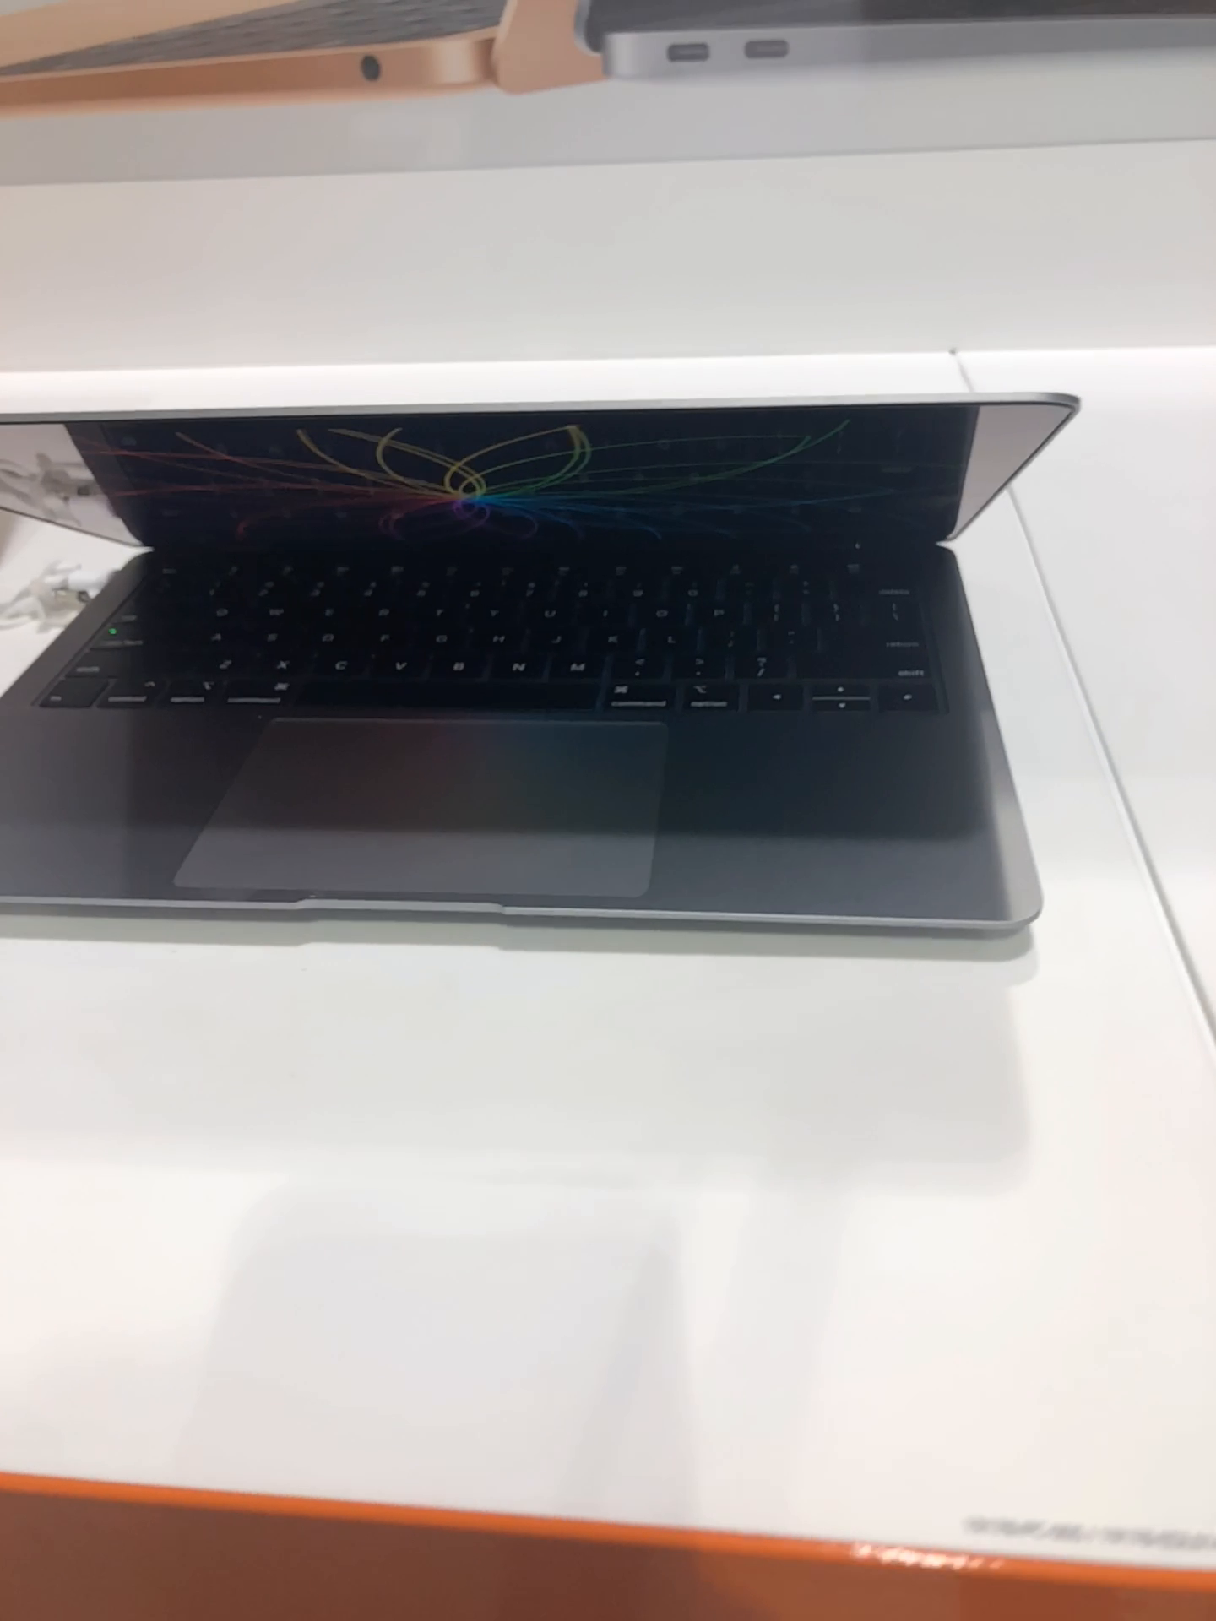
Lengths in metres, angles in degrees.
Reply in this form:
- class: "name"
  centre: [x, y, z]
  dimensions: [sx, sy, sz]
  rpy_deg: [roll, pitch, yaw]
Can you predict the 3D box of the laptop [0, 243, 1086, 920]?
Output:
- class: "laptop"
  centre: [-0.042, -0.078, 0.377]
  dimensions: [0.288, 0.102, 0.200]
  rpy_deg: [1, 34, 6]
